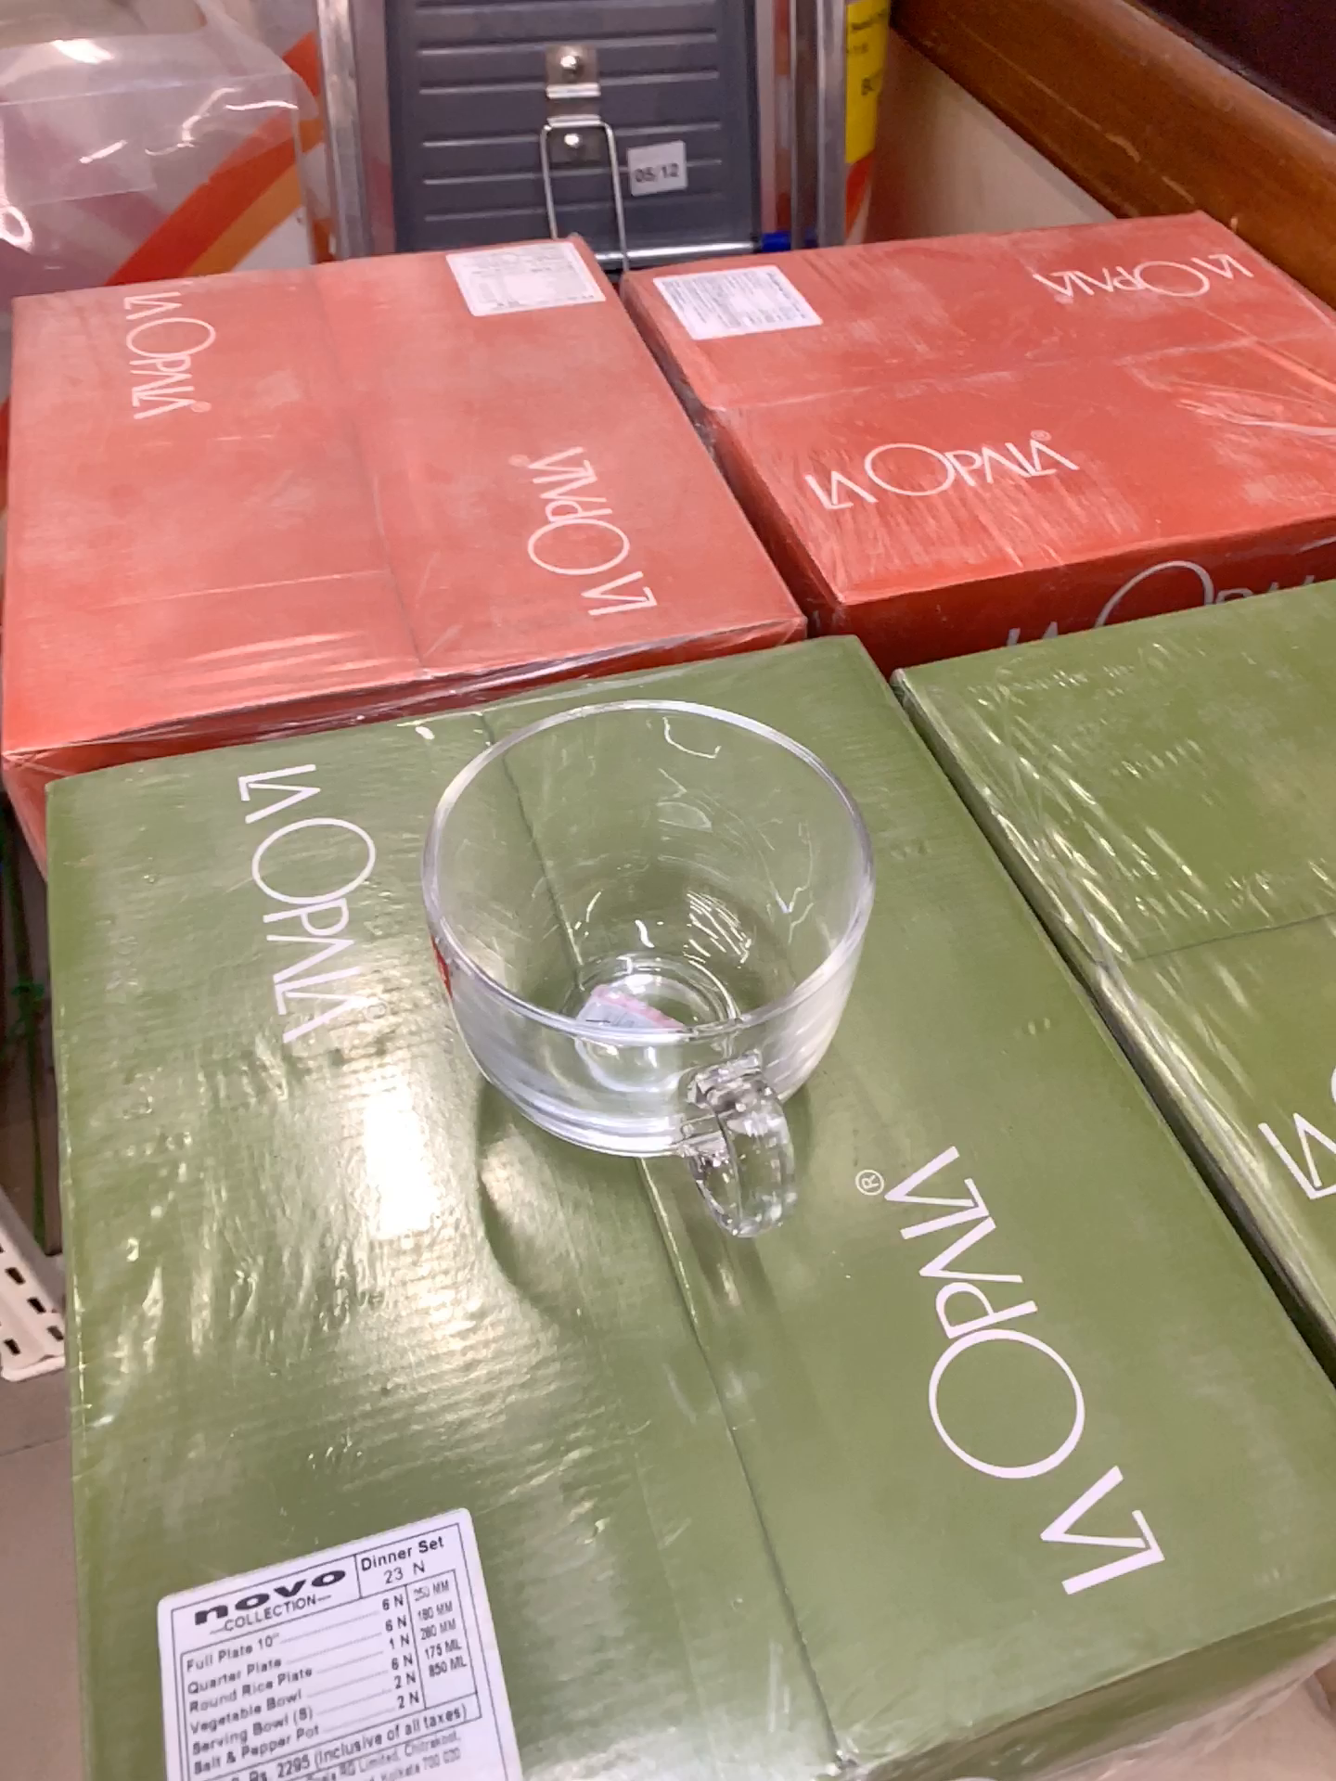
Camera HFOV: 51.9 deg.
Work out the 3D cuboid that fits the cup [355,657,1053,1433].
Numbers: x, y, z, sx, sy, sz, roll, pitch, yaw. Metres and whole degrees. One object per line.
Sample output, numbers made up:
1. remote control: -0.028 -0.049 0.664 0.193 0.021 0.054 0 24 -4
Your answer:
1. cup: -0.001 0.031 0.339 0.110 0.090 0.140 -15 51 -16
